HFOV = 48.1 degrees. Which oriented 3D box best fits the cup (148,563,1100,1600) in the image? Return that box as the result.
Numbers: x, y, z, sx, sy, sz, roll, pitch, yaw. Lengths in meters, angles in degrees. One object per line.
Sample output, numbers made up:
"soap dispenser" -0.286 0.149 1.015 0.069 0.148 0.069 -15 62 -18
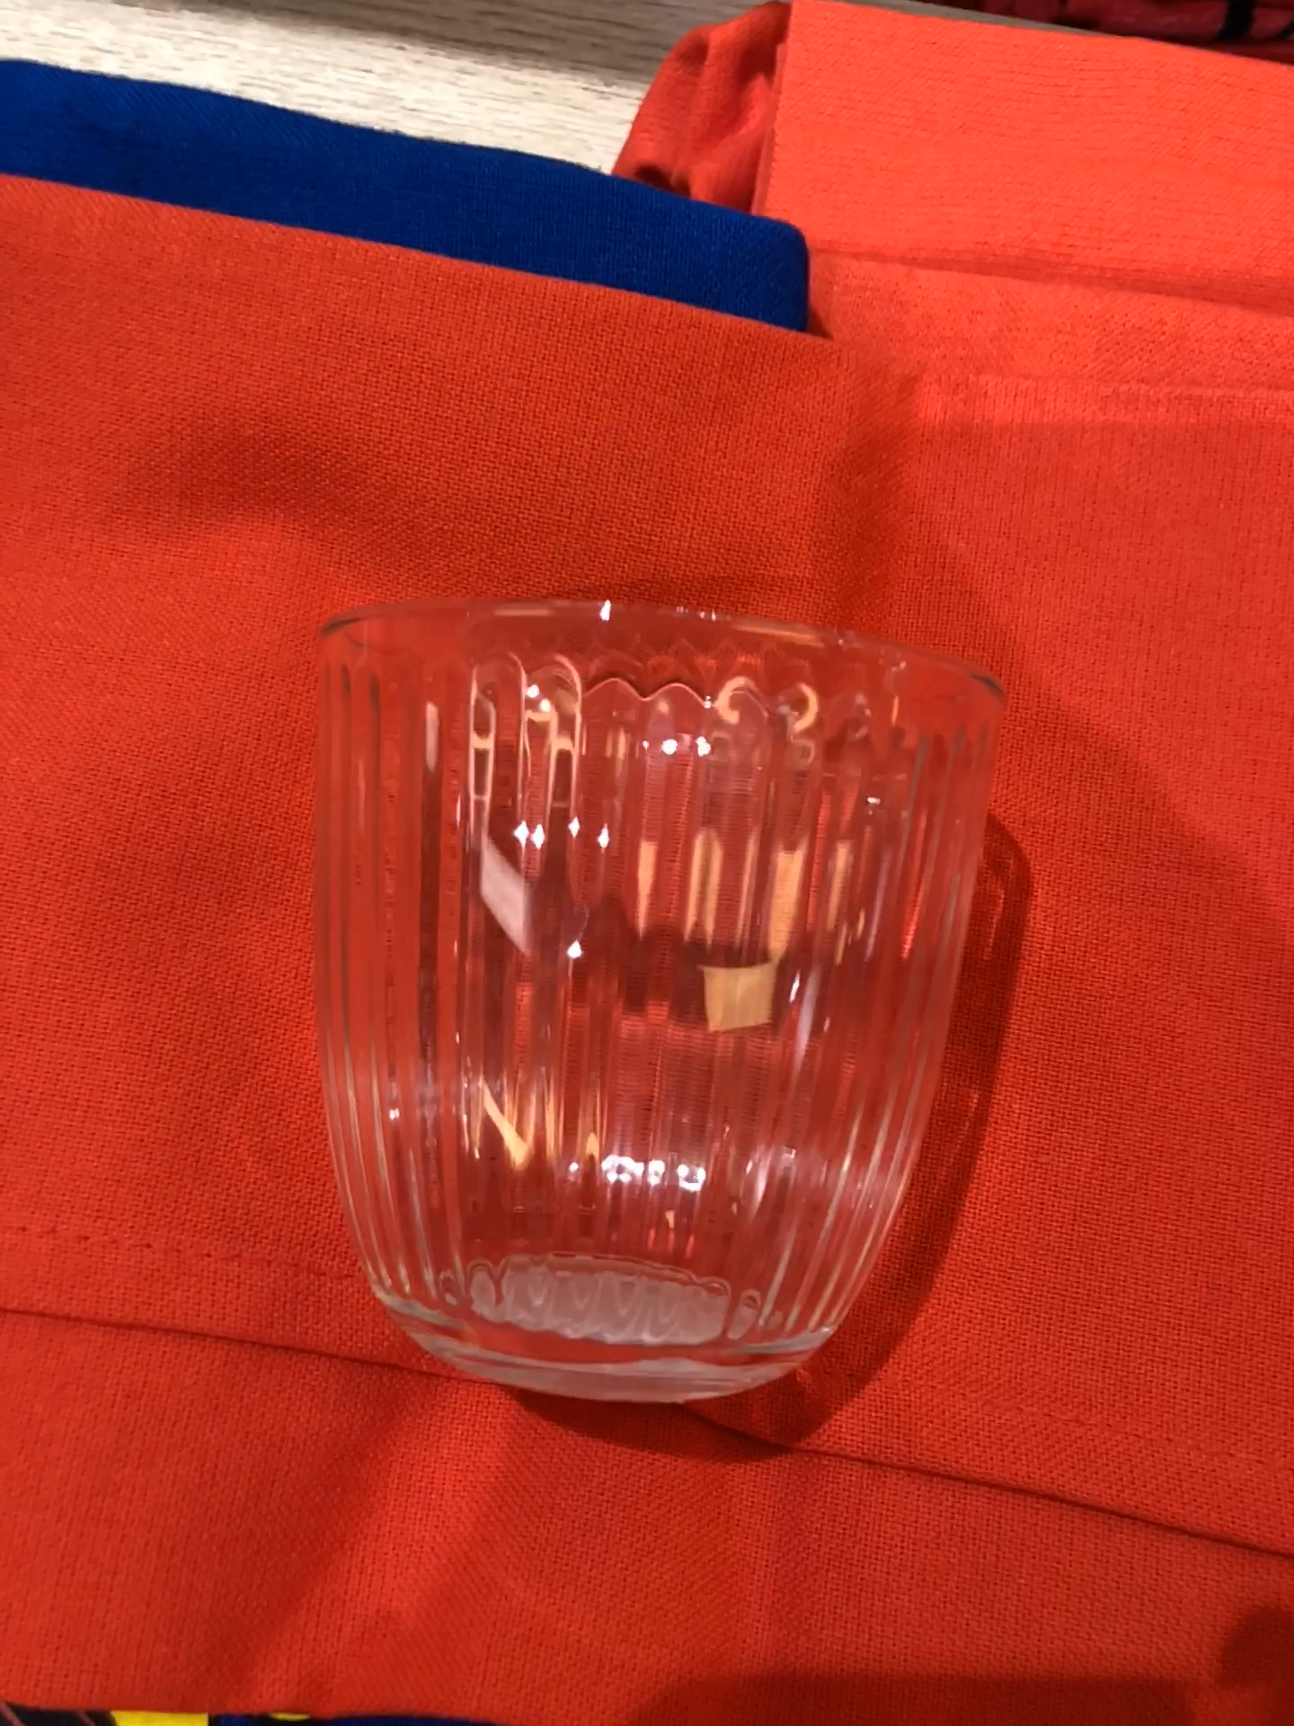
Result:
"cup" -0.003 0.020 0.166 0.080 0.060 0.090 6 92 -2
